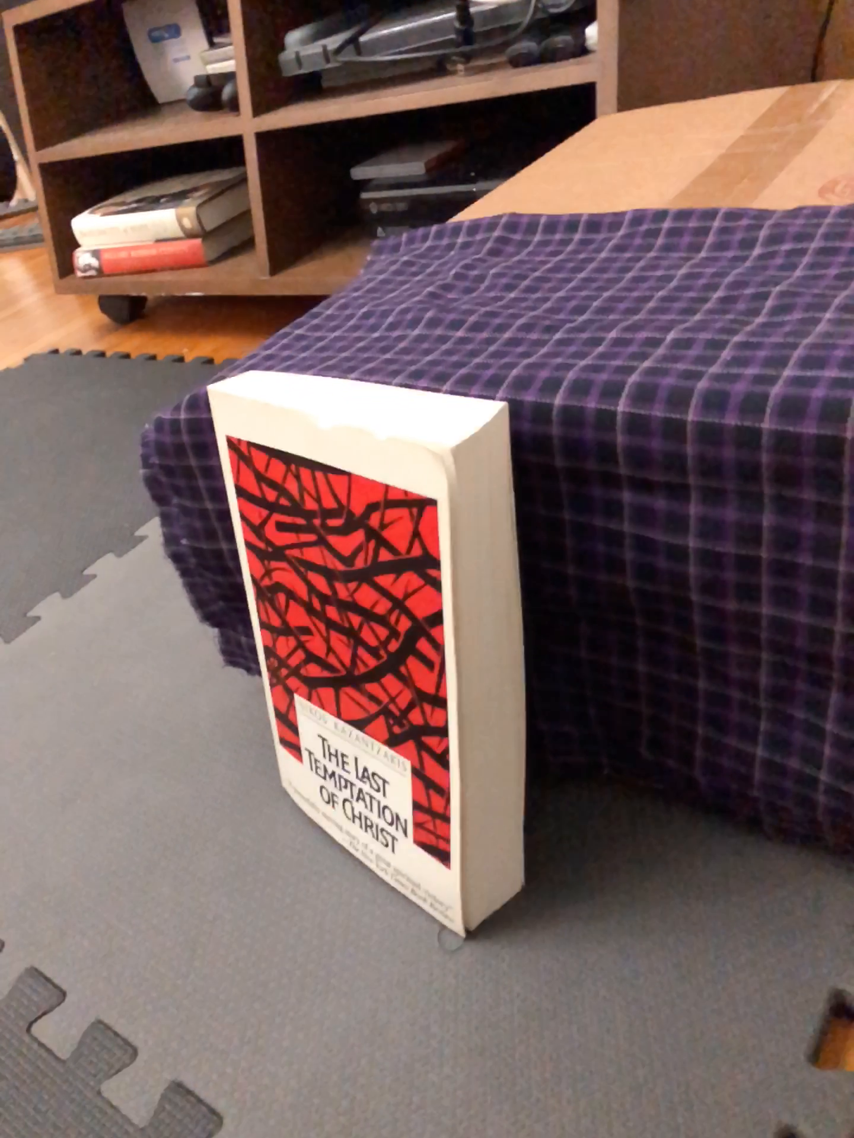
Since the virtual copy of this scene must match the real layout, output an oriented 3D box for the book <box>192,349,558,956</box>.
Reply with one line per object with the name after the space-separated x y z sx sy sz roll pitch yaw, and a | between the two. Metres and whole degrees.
-0.022 0.026 0.391 0.050 0.209 0.151 -22 27 -29 | book
